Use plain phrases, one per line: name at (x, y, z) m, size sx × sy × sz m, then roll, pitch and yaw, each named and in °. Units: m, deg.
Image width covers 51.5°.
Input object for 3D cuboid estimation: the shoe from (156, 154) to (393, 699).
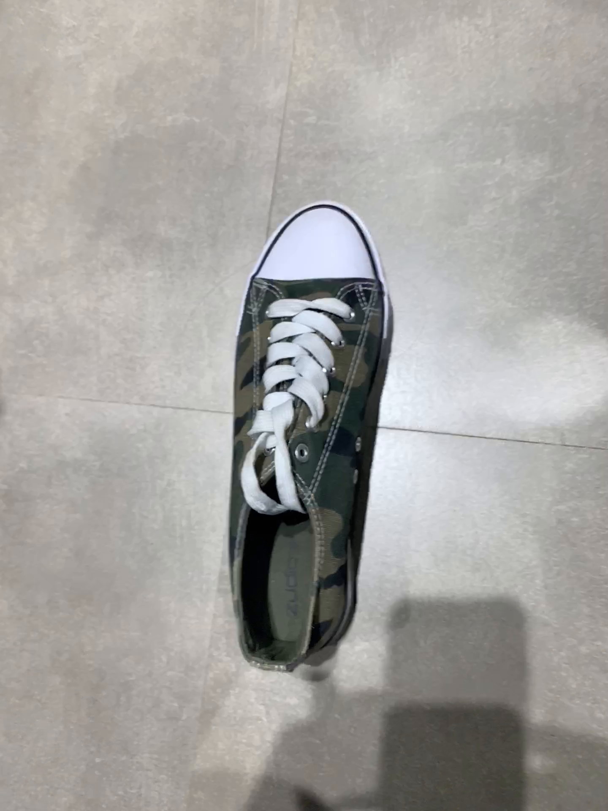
shoe at (-0.006, 0.006, 0.352) m, size 0.099 × 0.079 × 0.266 m, roll 2°, pitch 80°, yaw 11°
